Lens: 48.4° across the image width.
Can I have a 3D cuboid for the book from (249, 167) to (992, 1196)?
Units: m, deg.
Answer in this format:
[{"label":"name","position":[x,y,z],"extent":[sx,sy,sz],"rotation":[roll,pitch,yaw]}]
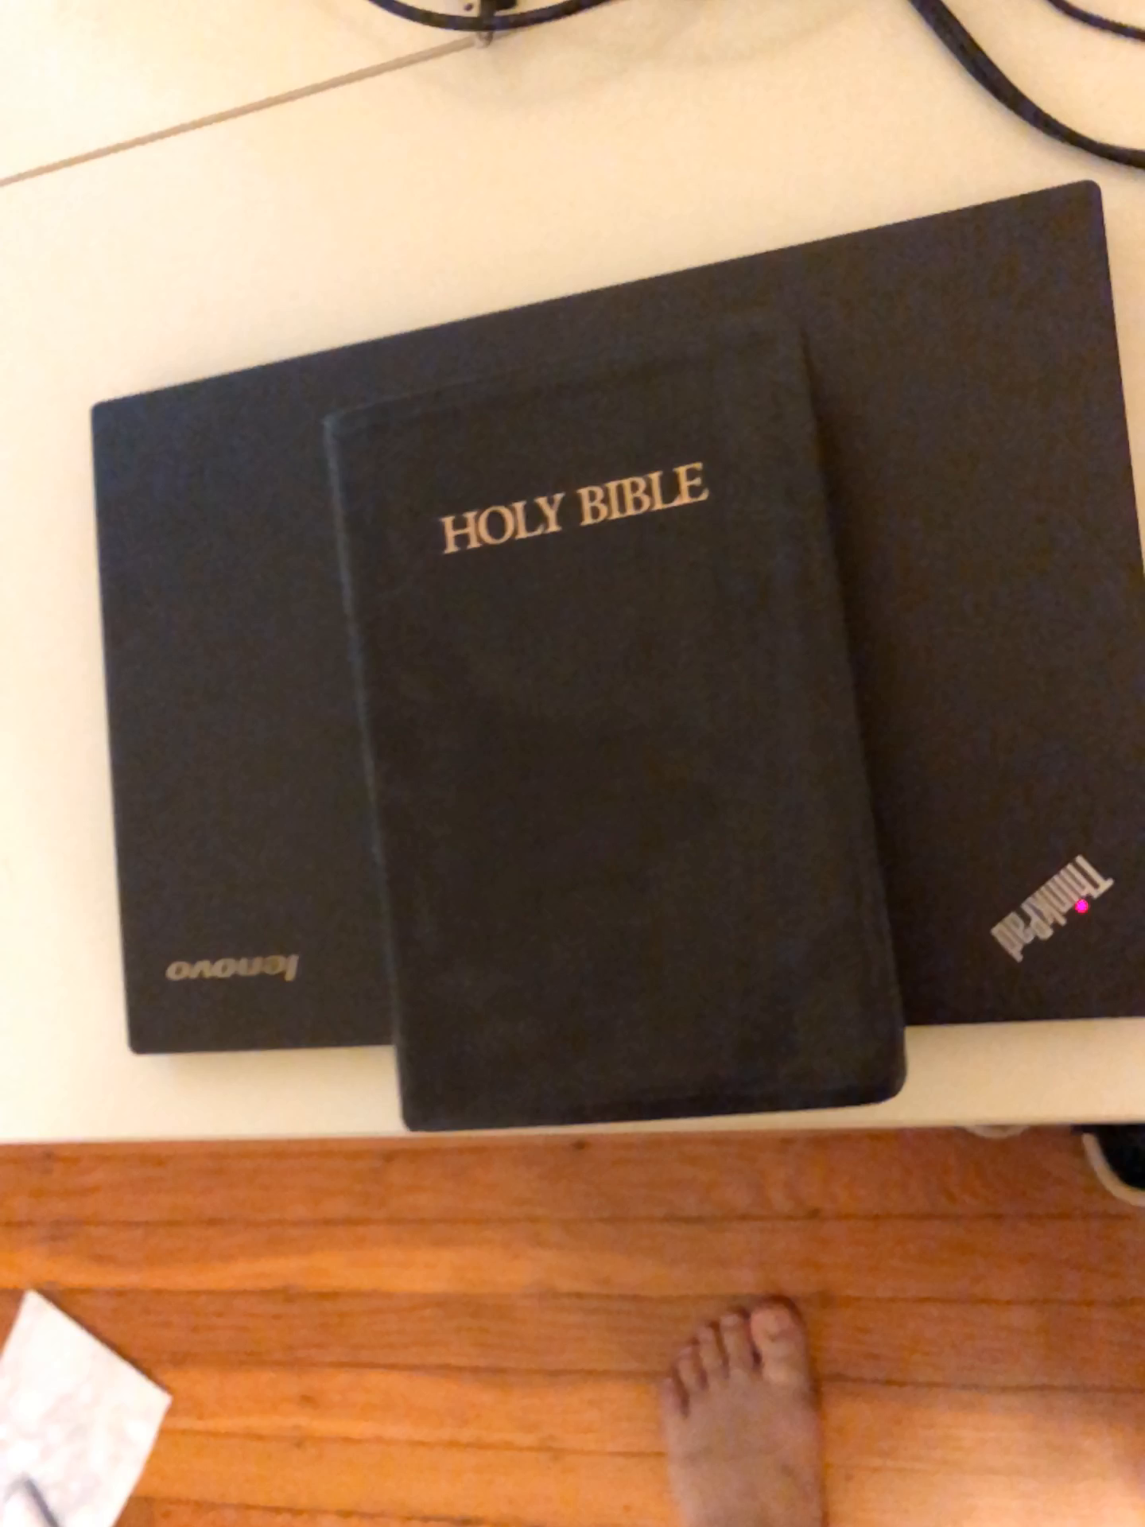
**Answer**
[{"label":"book","position":[0.007,-0.014,0.343],"extent":[0.170,0.040,0.240],"rotation":[-8,84,18]}]
